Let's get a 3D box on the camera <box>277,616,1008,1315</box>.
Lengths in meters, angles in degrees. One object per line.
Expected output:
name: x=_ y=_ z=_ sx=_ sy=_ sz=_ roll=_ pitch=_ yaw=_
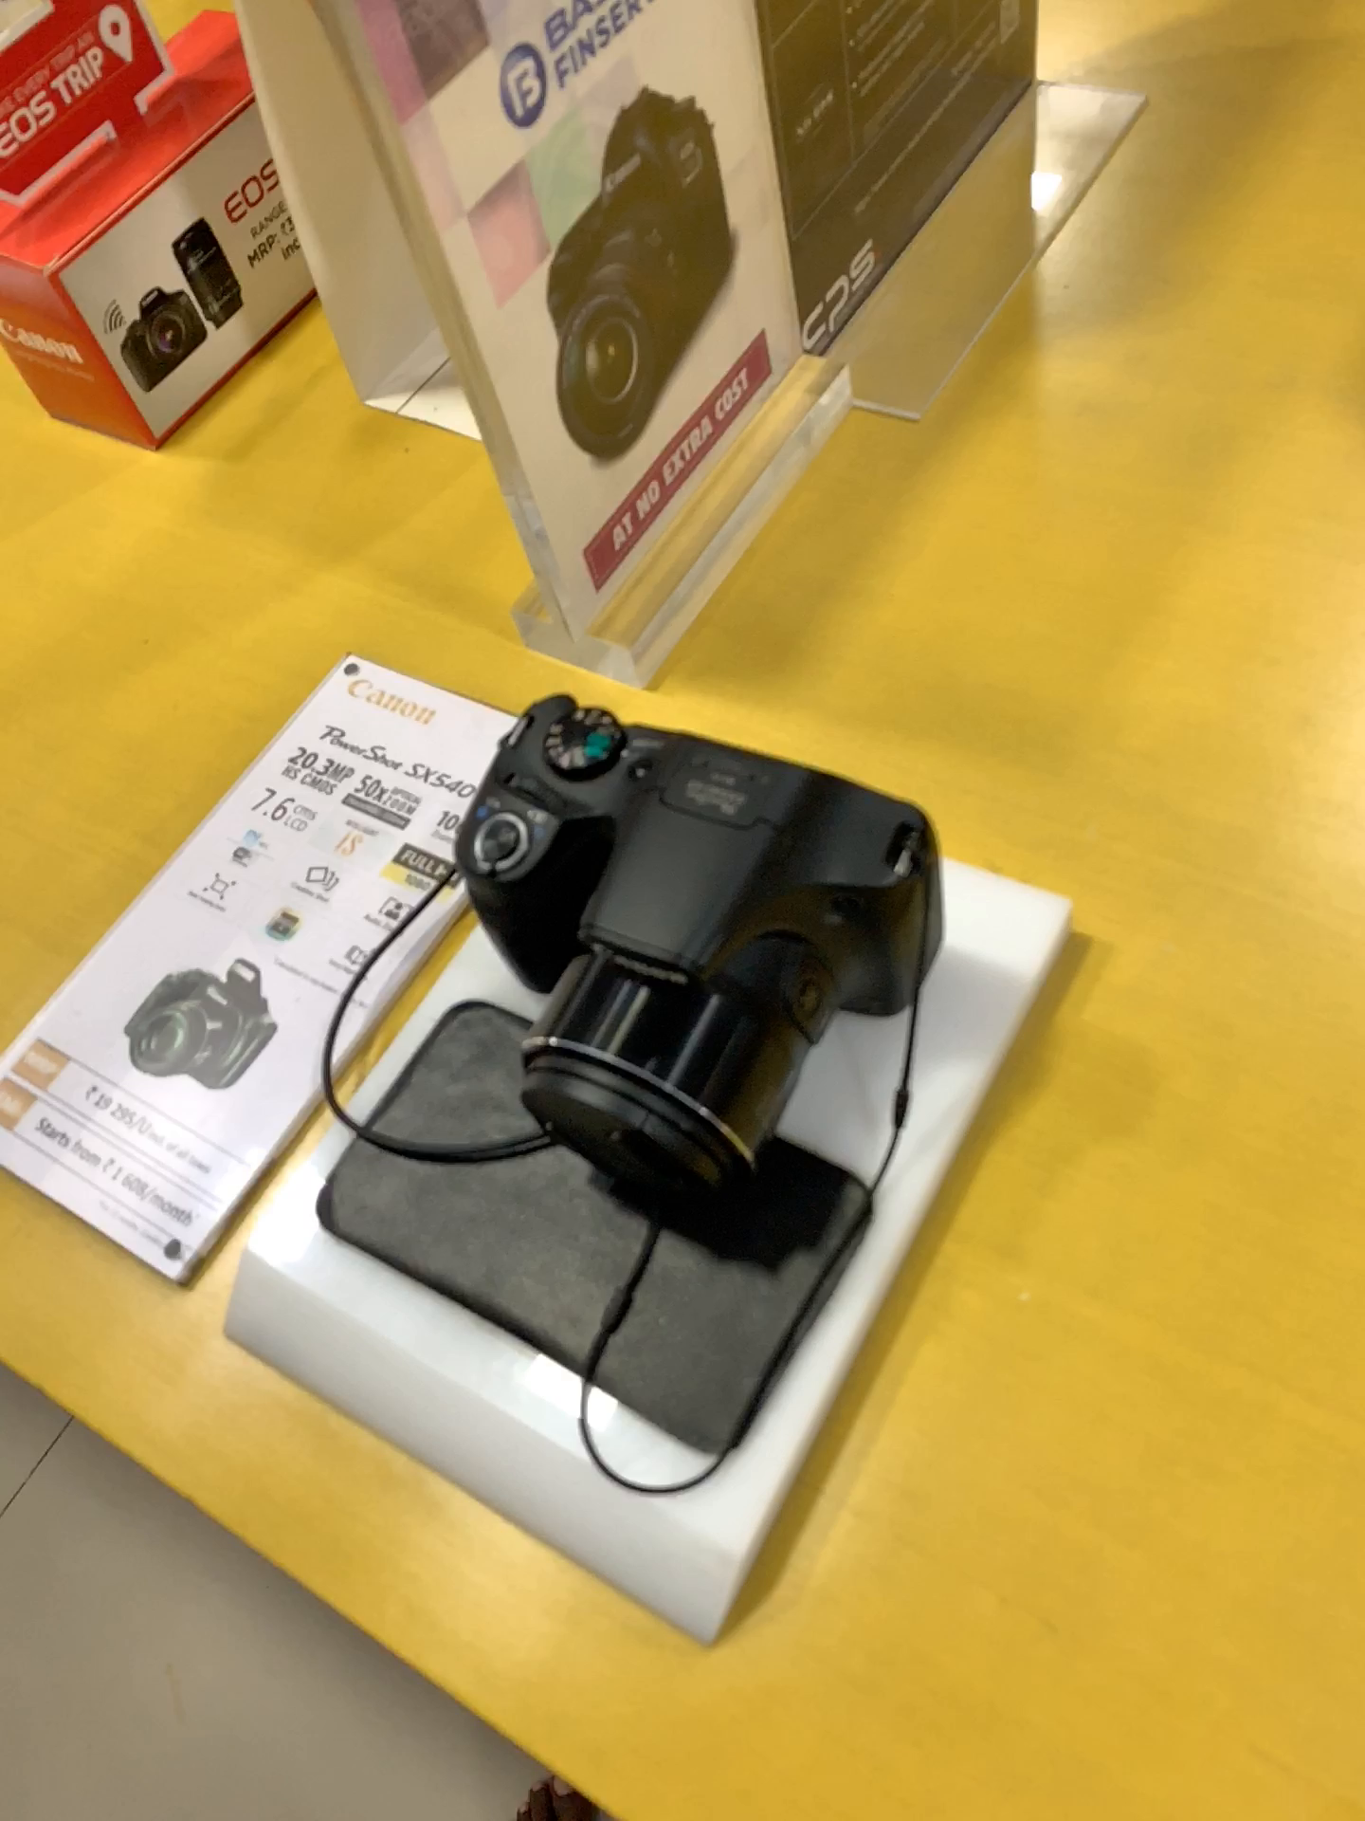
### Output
camera: x=-0.002 y=0.008 z=0.321 sx=0.120 sy=0.070 sz=0.110 roll=20 pitch=64 yaw=24
